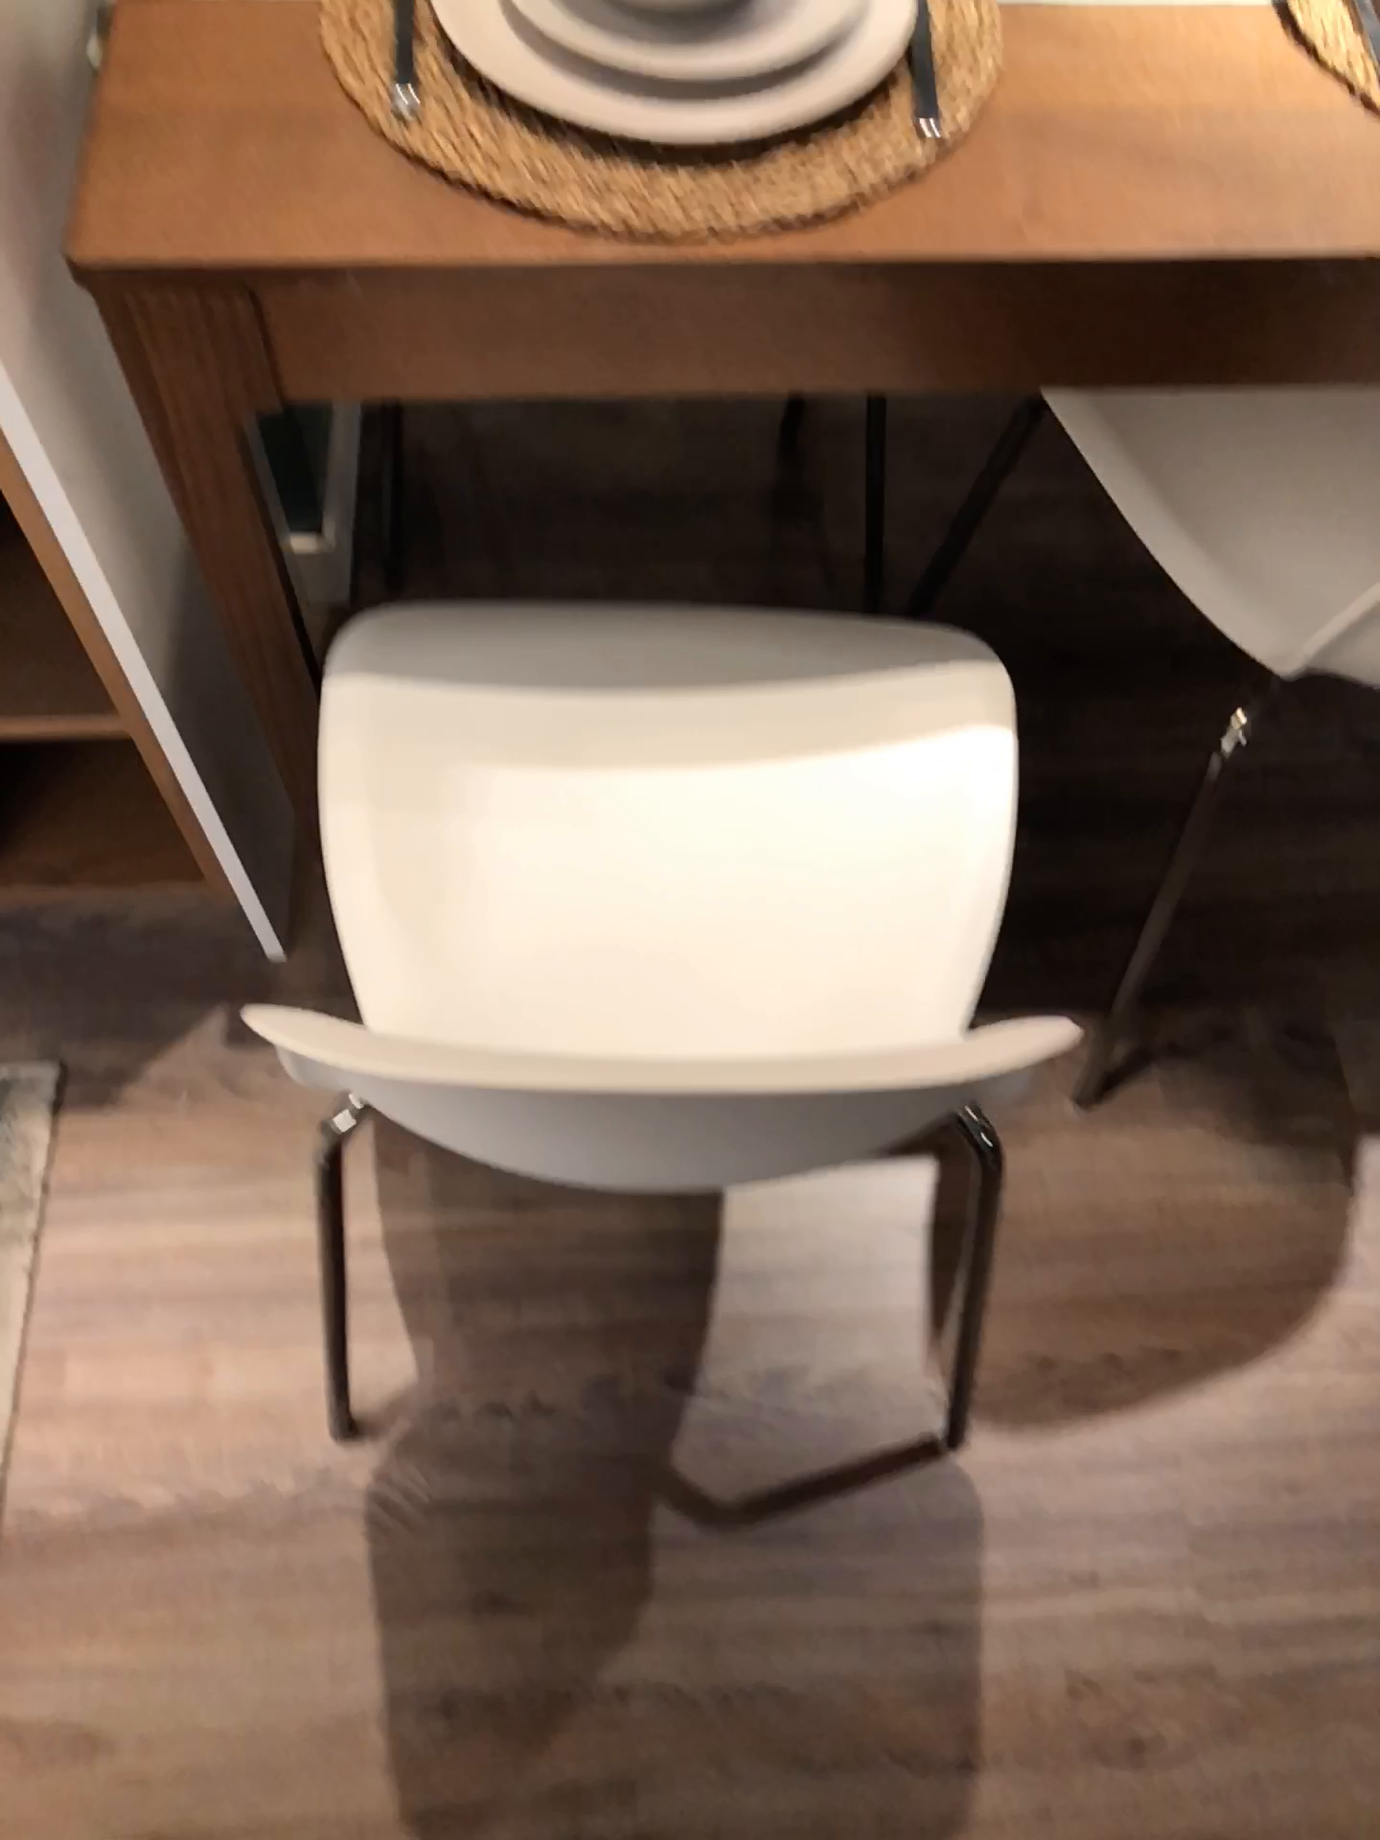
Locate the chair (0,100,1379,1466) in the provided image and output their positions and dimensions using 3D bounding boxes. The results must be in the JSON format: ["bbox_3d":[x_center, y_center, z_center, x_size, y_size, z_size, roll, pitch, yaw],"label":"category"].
[{"bbox_3d":[-0.012,0.004,0.934,0.540,0.707,0.532,1,62,-2],"label":"chair"}]
